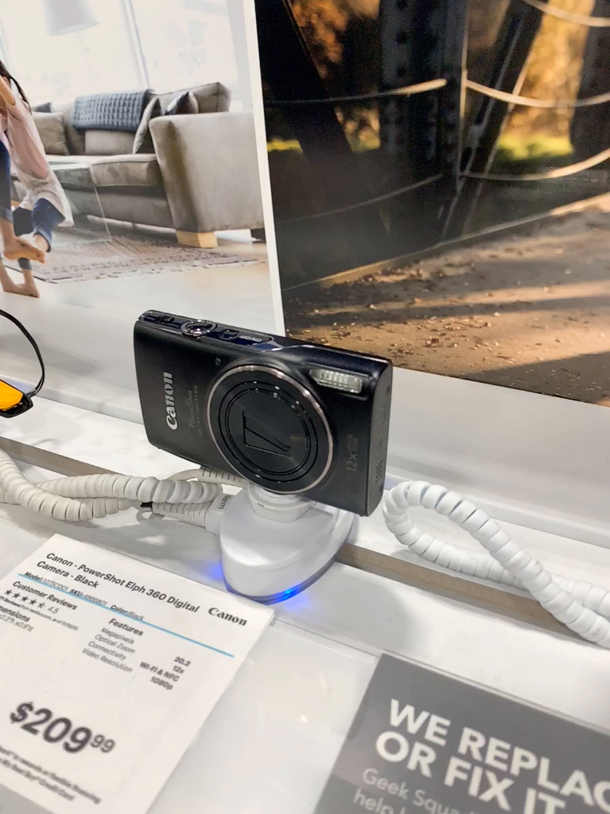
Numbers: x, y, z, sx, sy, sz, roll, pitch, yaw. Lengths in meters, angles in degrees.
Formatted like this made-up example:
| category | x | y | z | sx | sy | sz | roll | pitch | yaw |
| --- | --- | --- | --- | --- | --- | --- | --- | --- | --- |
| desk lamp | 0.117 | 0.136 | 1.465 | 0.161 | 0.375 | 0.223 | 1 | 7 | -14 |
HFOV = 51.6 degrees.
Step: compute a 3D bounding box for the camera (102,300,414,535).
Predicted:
| category | x | y | z | sx | sy | sz | roll | pitch | yaw |
| --- | --- | --- | --- | --- | --- | --- | --- | --- | --- |
| camera | -0.019 | 0.000 | 0.227 | 0.106 | 0.055 | 0.027 | 14 | 30 | 22 |
